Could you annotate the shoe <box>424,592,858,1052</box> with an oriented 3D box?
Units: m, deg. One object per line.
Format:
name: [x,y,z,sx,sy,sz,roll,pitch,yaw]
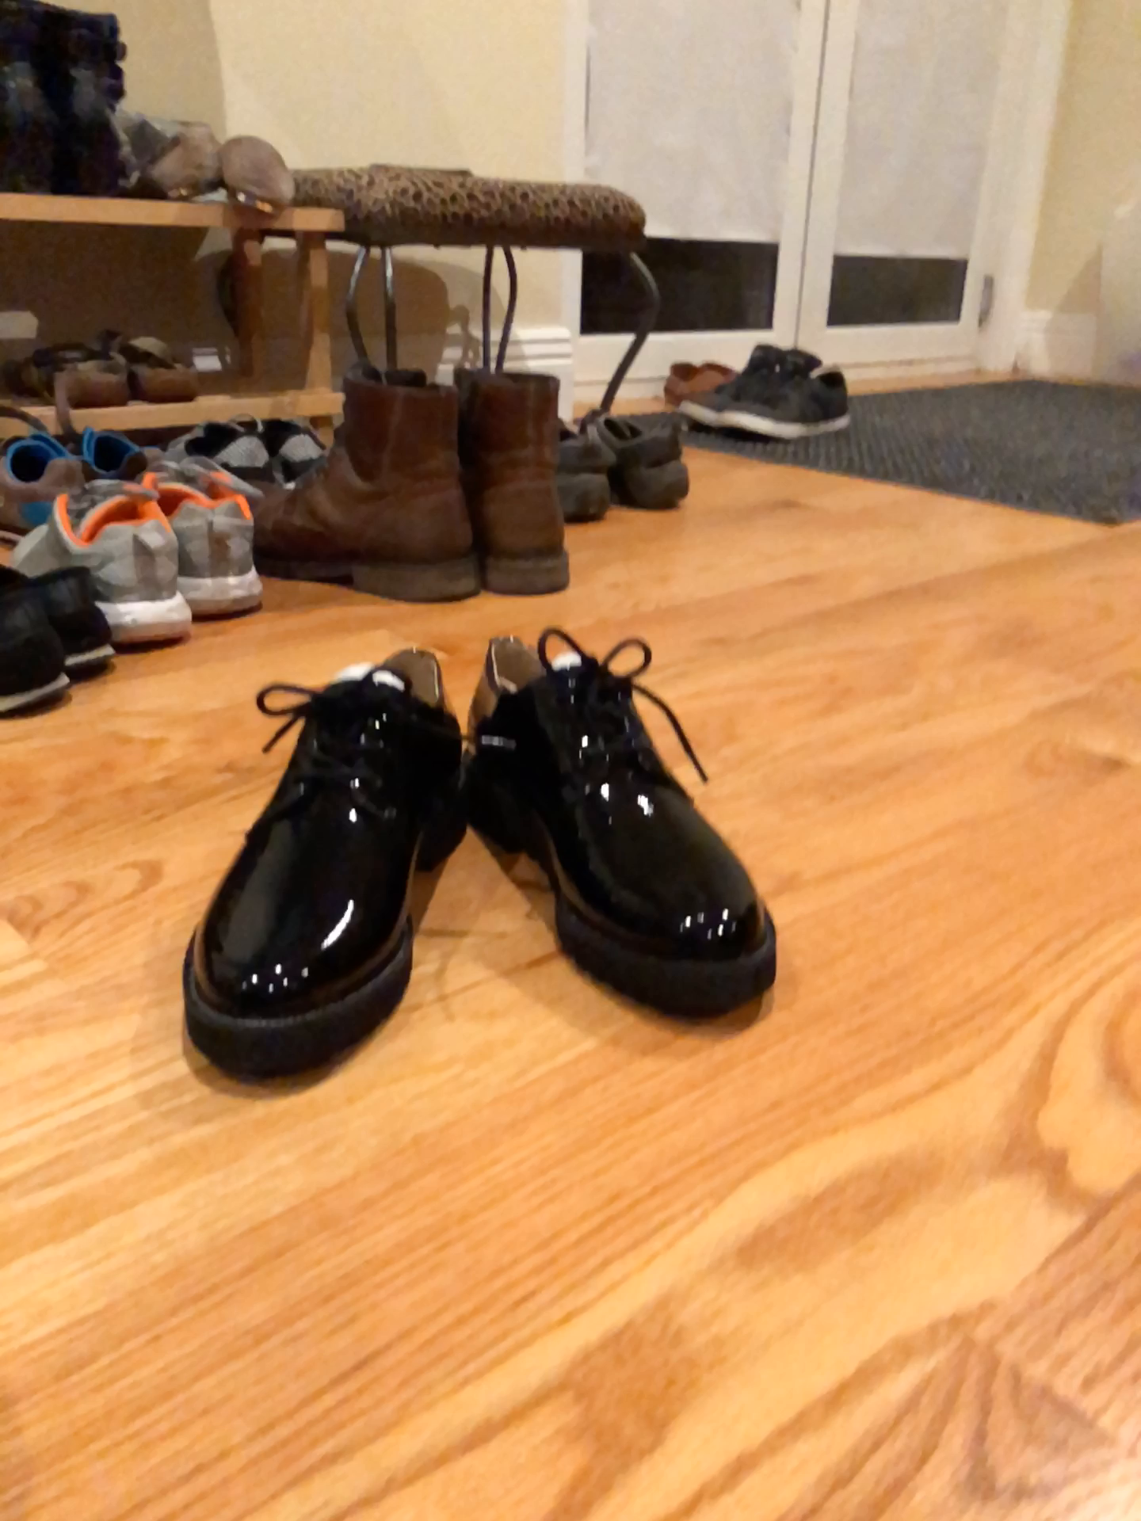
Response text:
shoe: [0.013,0.008,0.565,0.095,0.102,0.252,-7,24,-20]

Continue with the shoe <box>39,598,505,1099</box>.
shoe: [-0.103,0.016,0.527,0.095,0.102,0.252,5,23,9]
